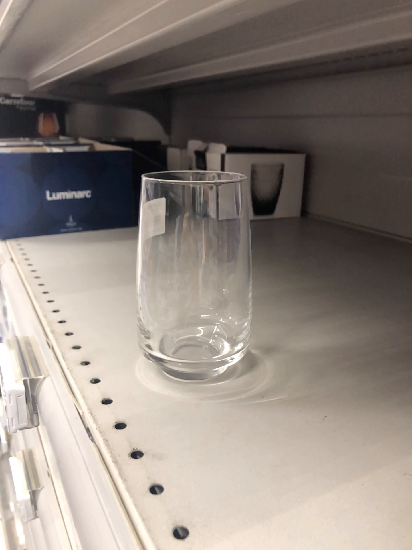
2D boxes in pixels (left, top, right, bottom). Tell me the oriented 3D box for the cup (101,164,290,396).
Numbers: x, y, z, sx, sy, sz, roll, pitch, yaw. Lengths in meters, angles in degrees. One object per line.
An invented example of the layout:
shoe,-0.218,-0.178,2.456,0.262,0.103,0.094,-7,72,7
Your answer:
cup,-0.006,-0.006,0.278,0.076,0.112,0.076,1,17,0
